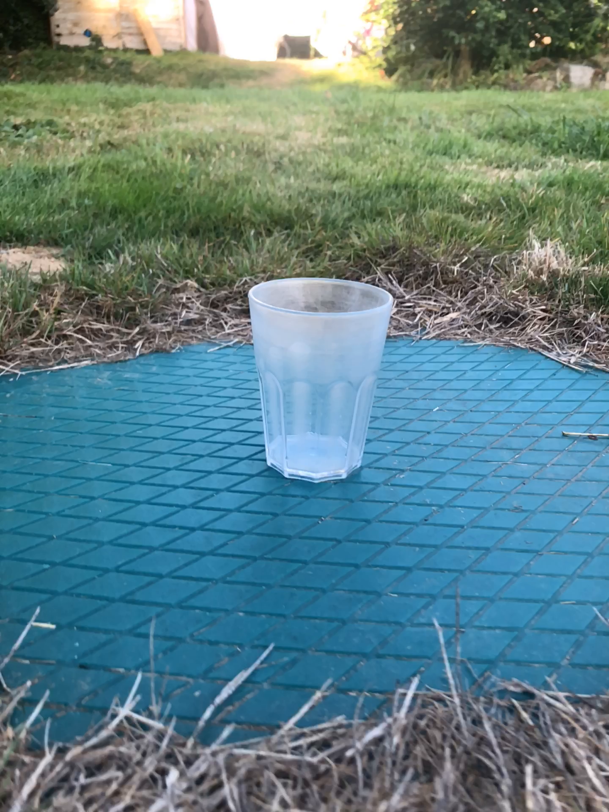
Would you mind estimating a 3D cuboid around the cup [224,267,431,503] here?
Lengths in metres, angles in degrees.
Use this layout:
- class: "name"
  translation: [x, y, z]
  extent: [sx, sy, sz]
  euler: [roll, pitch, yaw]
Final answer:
- class: "cup"
  translation: [0.012, -0.020, 0.428]
  extent: [0.088, 0.113, 0.091]
  euler: [1, 22, 0]
